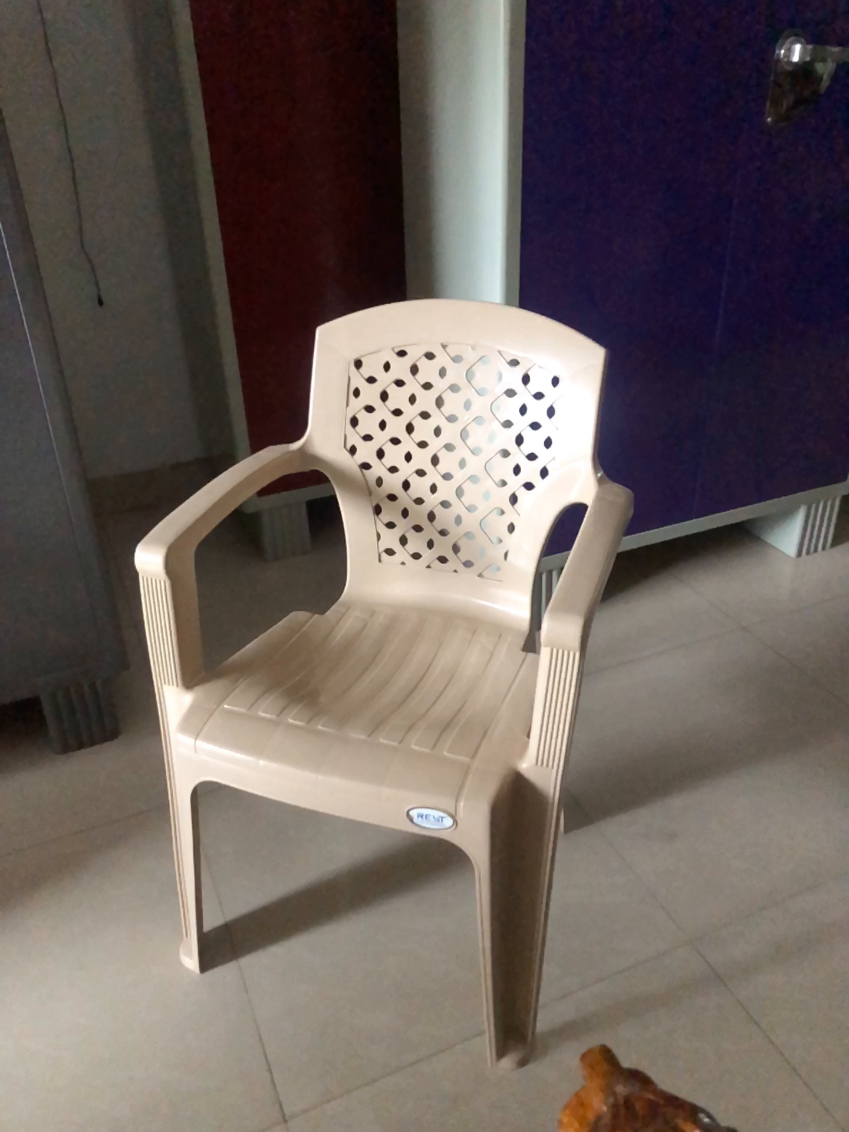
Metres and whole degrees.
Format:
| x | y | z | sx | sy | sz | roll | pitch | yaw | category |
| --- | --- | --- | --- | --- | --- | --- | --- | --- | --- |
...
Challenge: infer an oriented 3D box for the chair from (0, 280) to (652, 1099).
| x | y | z | sx | sy | sz | roll | pitch | yaw | category |
| --- | --- | --- | --- | --- | --- | --- | --- | --- | --- |
| -0.048 | 0.111 | 1.208 | 0.540 | 0.796 | 0.563 | 8 | 32 | 18 | chair |
